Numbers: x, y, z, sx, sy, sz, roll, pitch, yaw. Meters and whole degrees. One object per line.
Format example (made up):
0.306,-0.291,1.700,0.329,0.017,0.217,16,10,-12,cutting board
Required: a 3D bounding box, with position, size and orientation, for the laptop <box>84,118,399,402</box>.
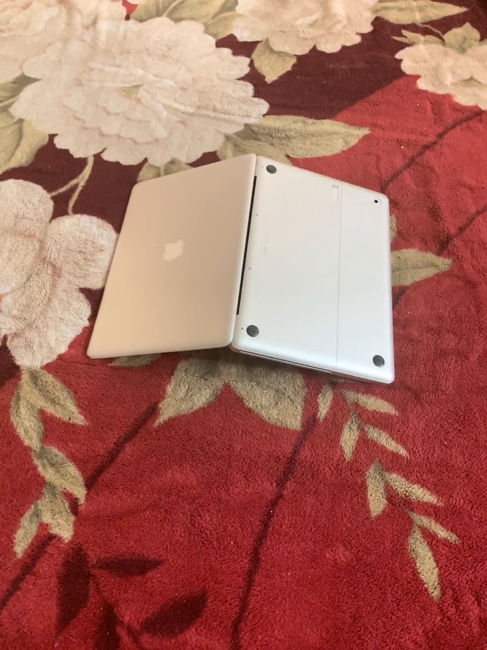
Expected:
0.027,-0.092,0.703,0.390,0.077,0.317,13,61,-10,laptop
